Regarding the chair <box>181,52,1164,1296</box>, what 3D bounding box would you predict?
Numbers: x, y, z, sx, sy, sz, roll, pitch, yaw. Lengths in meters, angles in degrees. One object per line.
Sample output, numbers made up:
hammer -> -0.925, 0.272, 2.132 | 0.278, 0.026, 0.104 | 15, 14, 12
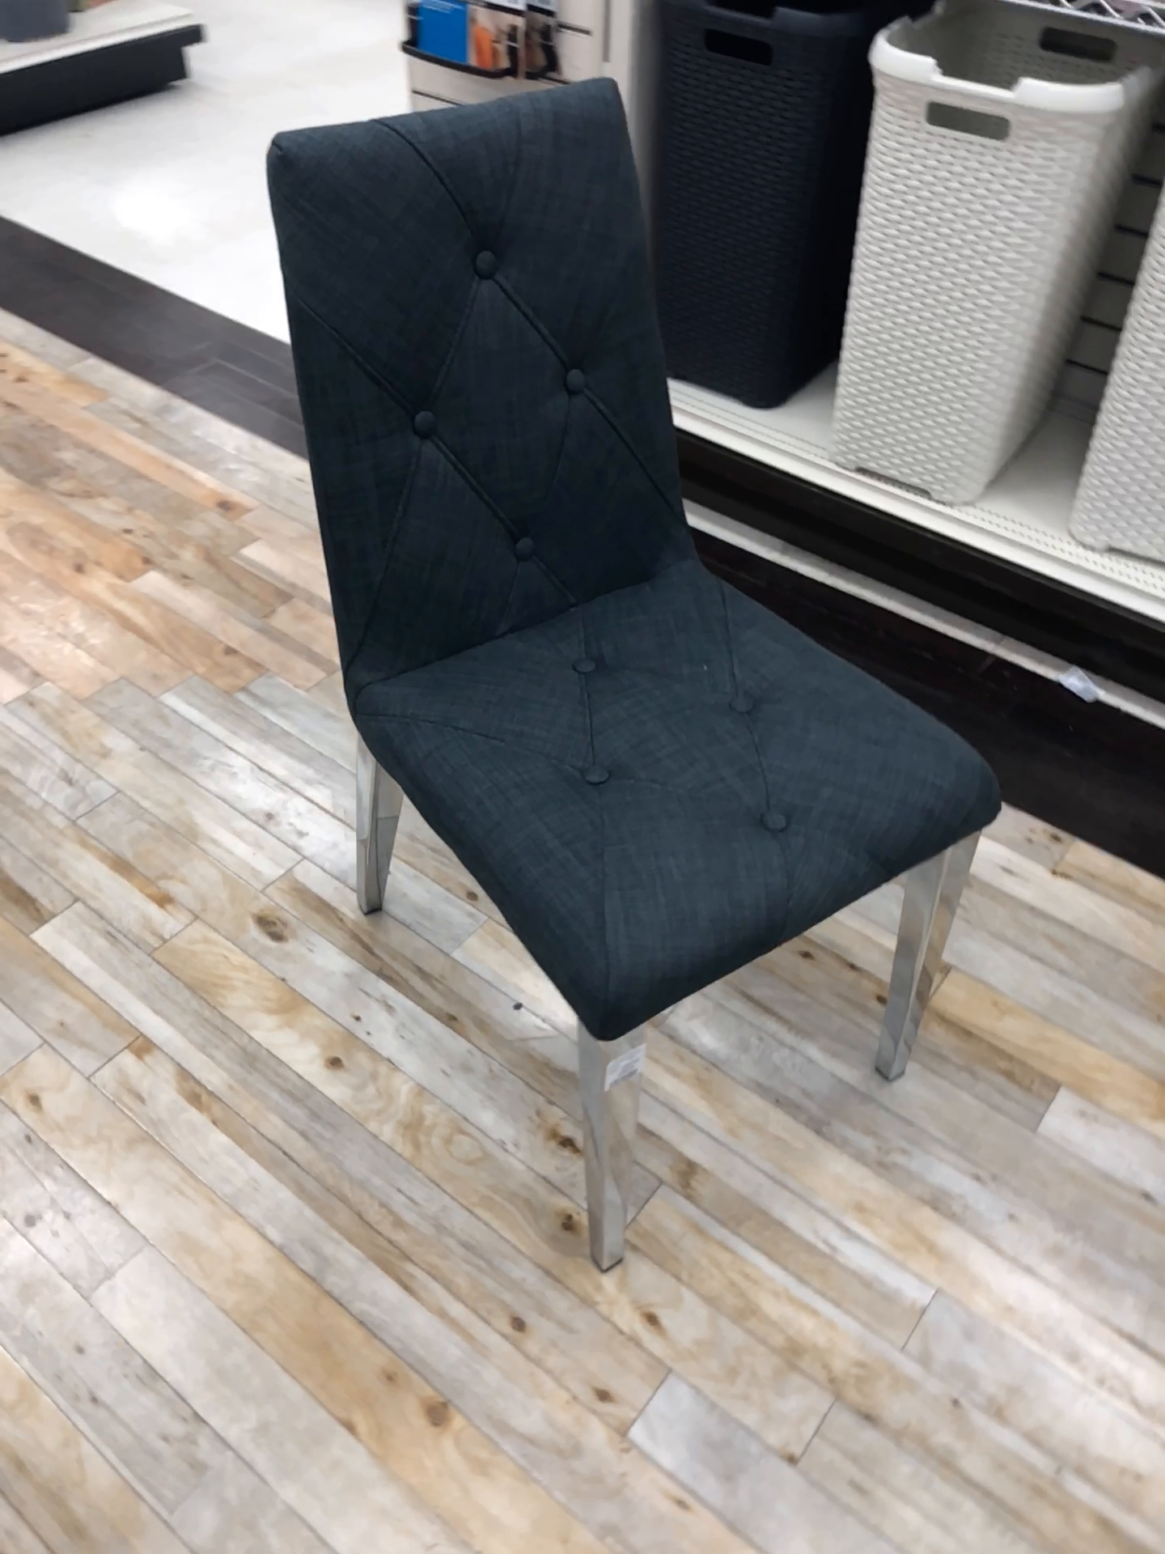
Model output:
chair -> 0.040, -0.081, 1.178 | 0.451, 0.867, 0.582 | -25, 49, -26
